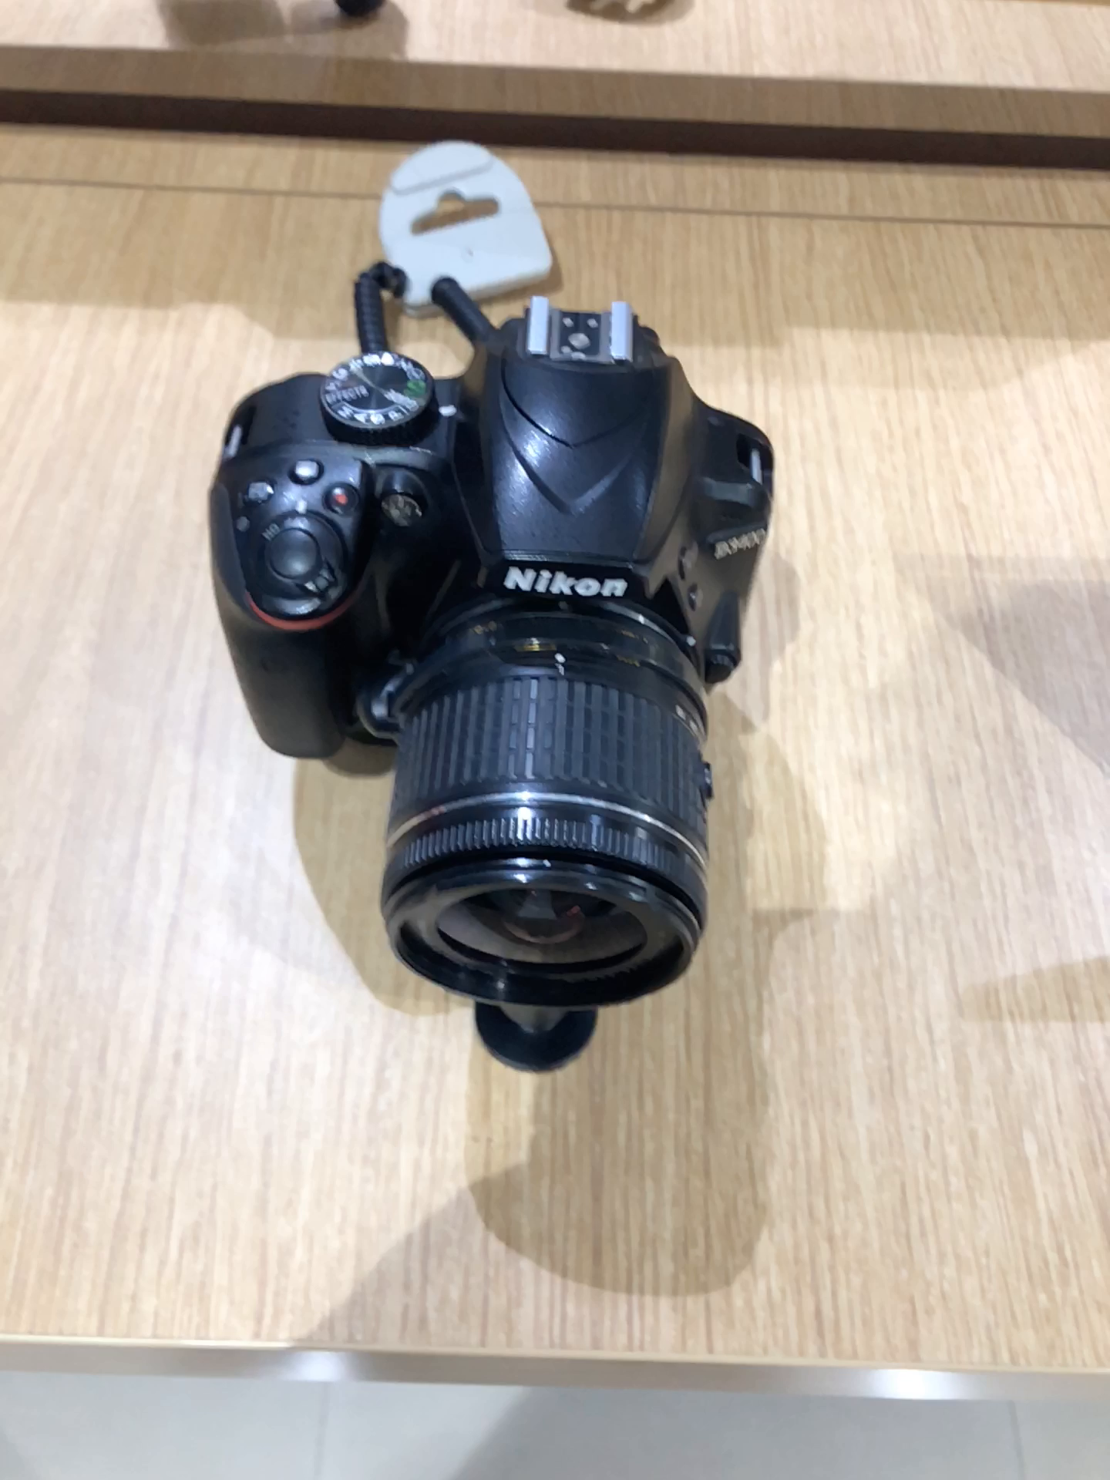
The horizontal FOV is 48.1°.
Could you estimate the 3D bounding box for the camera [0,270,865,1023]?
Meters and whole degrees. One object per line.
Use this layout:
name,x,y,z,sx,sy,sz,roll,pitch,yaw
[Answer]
camera,-0.020,-0.018,0.251,0.133,0.084,0.121,2,57,-1
